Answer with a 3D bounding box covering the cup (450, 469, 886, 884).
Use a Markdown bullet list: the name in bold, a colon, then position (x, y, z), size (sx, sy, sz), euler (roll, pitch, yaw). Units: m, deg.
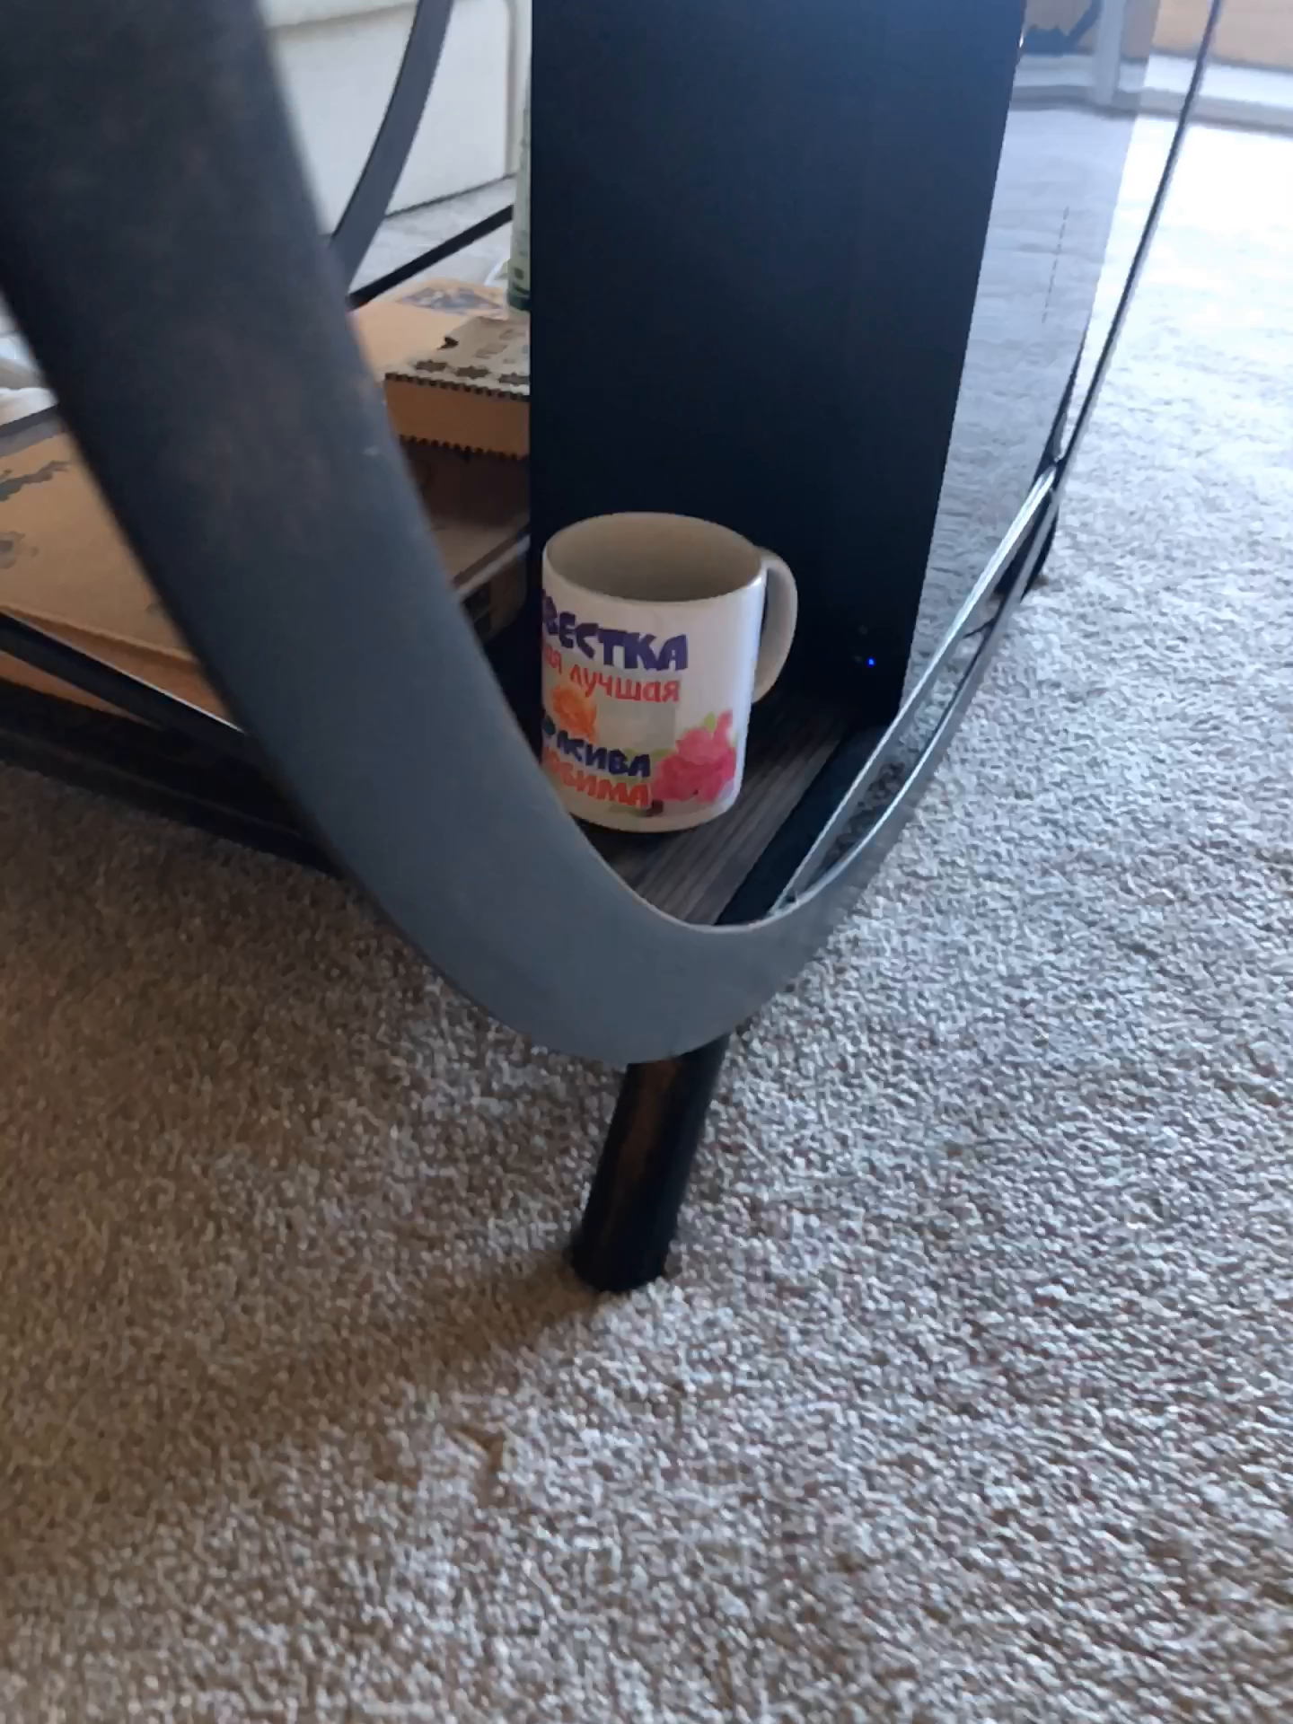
- **cup**: position (0.007, -0.079, 0.567), size (0.140, 0.099, 0.090), euler (-26, 45, -35)
